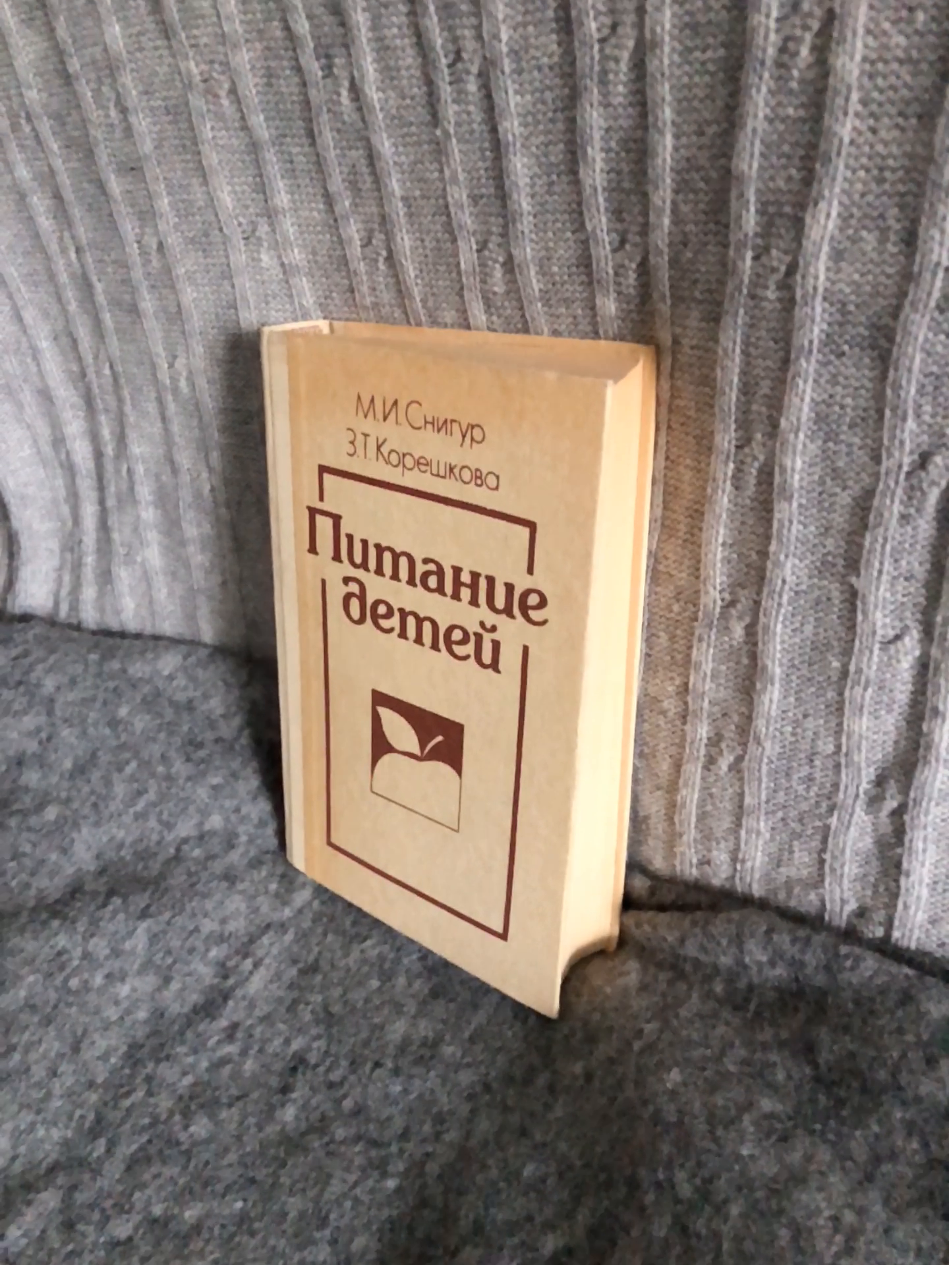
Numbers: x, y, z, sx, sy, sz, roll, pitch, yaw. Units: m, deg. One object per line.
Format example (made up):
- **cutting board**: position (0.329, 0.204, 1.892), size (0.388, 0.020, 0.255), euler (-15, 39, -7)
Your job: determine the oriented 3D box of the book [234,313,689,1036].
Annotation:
- **book**: position (-0.010, 0.009, 0.352), size (0.140, 0.212, 0.041), euler (16, 26, 34)
